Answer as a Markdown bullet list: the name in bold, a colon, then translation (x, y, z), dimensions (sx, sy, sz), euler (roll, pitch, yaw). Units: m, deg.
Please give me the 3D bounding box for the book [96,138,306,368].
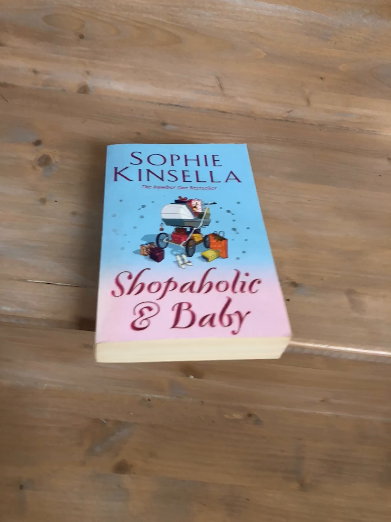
- **book**: translation (-0.006, -0.022, 0.345), dimensions (0.131, 0.031, 0.211), euler (-1, 50, -7)
